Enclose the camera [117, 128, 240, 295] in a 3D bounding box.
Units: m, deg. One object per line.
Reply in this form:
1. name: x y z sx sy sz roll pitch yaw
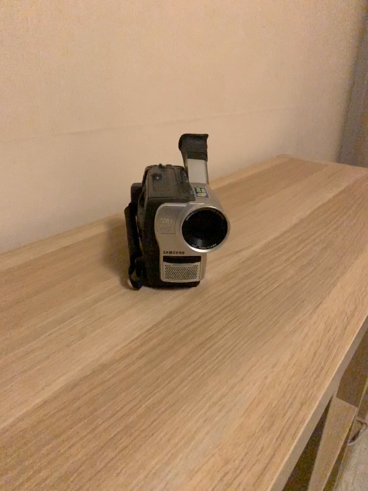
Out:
1. camera: -0.018 -0.053 0.436 0.106 0.133 0.193 -1 23 -8
